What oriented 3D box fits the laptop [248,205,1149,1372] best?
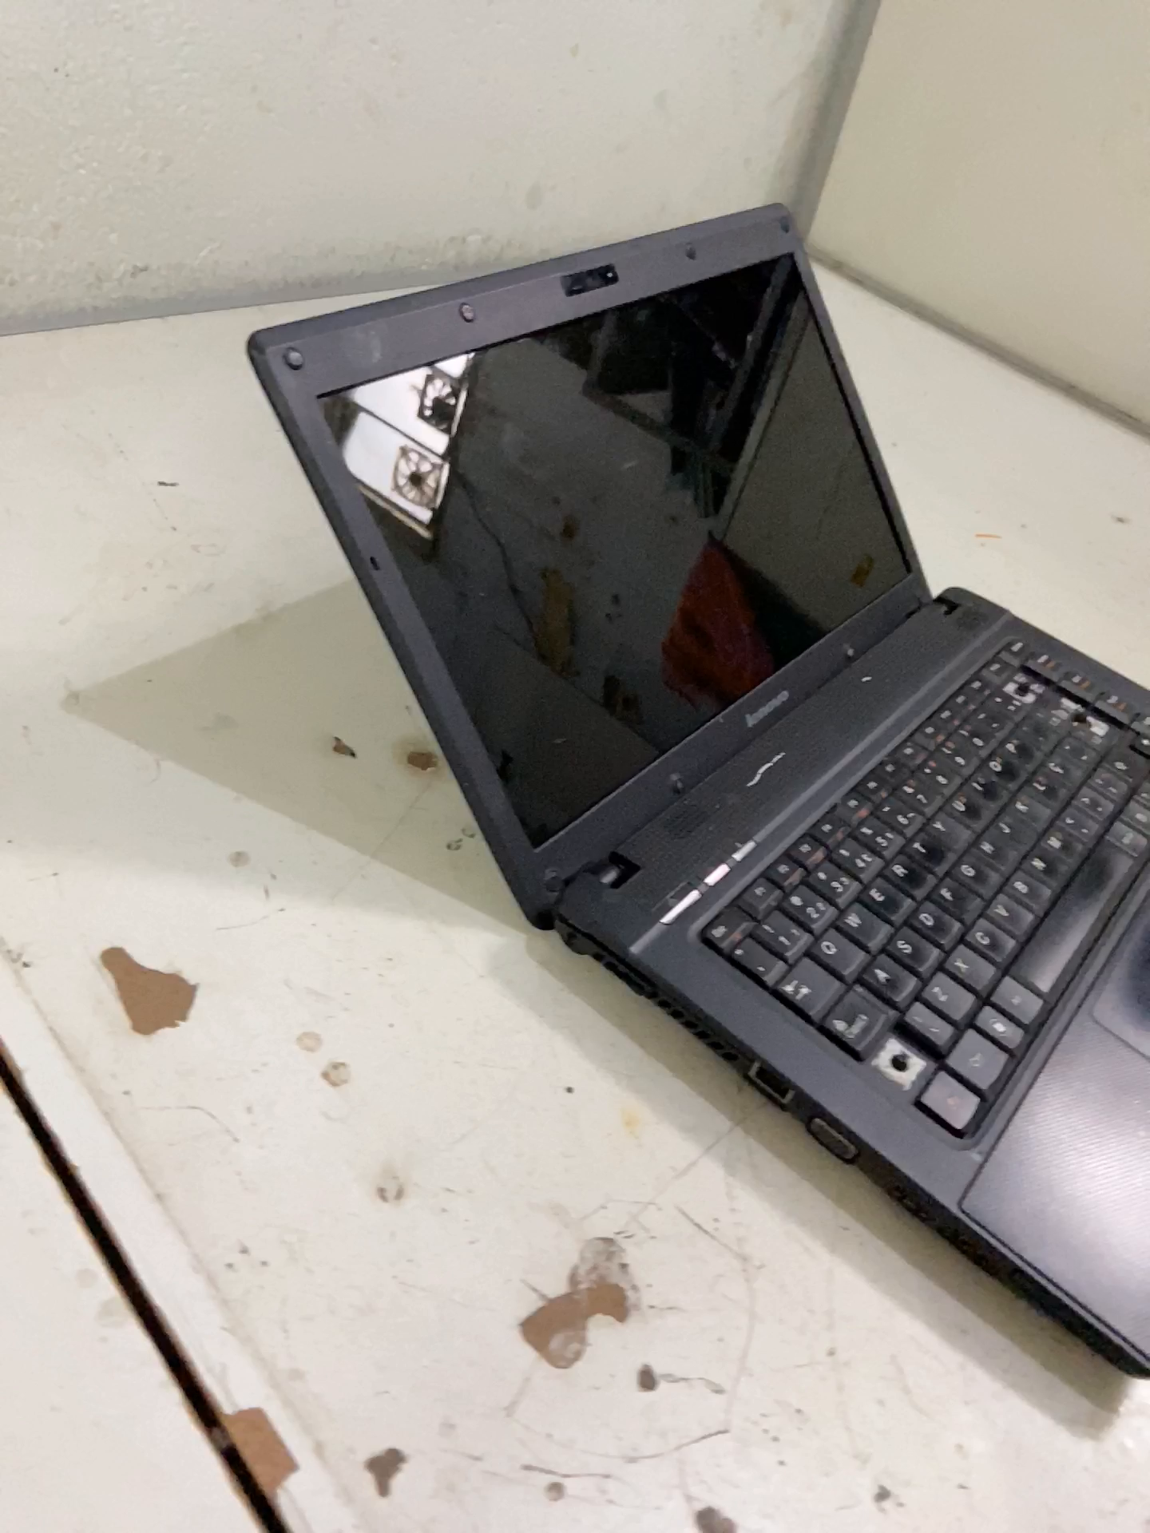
[{"bbox_3d":[0.145,-0.064,0.500,0.422,0.147,0.359,36,45,22],"label":"laptop"}]
